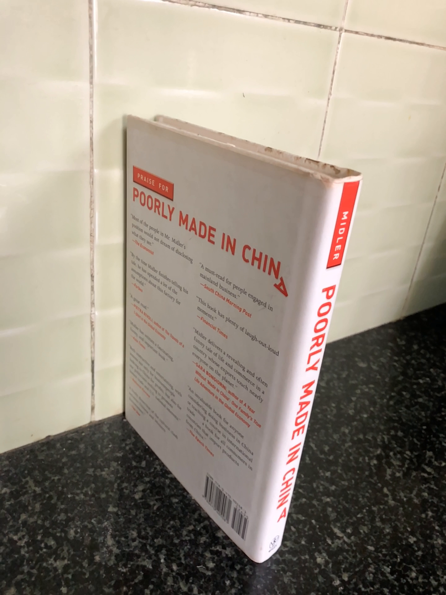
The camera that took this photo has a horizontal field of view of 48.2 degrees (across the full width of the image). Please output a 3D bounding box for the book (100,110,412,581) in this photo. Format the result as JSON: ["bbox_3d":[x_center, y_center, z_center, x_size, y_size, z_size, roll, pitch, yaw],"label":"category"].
[{"bbox_3d":[-0.010,0.017,0.304,0.040,0.219,0.190,-15,33,-38],"label":"book"}]
